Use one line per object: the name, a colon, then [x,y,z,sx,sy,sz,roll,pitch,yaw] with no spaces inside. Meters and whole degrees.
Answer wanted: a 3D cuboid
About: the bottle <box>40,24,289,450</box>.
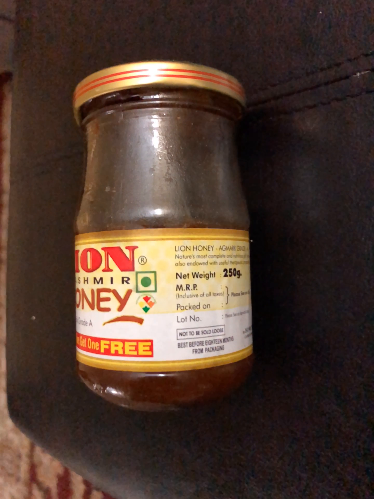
bottle: [-0.007,-0.003,0.151,0.060,0.059,0.108,-1,91,43]
